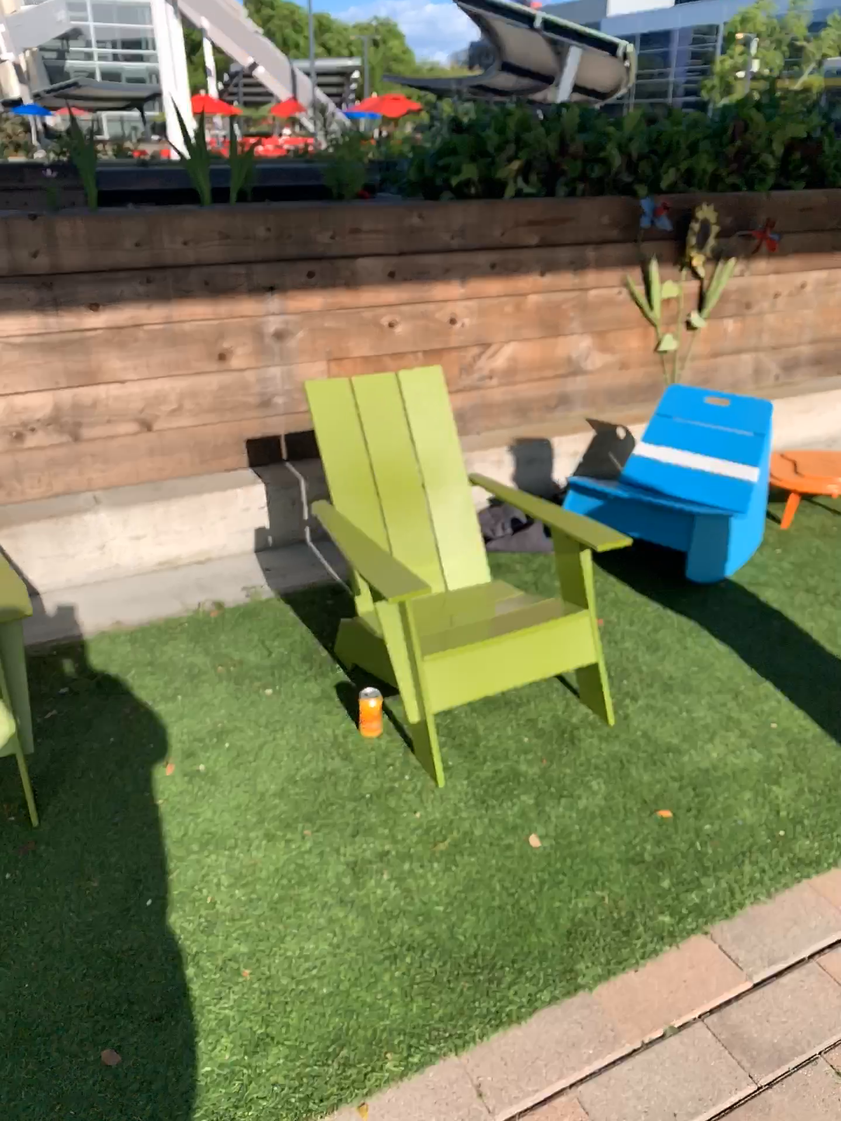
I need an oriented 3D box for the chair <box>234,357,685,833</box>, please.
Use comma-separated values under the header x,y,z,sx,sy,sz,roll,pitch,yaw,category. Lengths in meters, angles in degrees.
x,y,z,sx,sy,sz,roll,pitch,yaw,category
0.042,-0.002,2.552,0.850,0.895,1.005,-12,29,-24,chair
